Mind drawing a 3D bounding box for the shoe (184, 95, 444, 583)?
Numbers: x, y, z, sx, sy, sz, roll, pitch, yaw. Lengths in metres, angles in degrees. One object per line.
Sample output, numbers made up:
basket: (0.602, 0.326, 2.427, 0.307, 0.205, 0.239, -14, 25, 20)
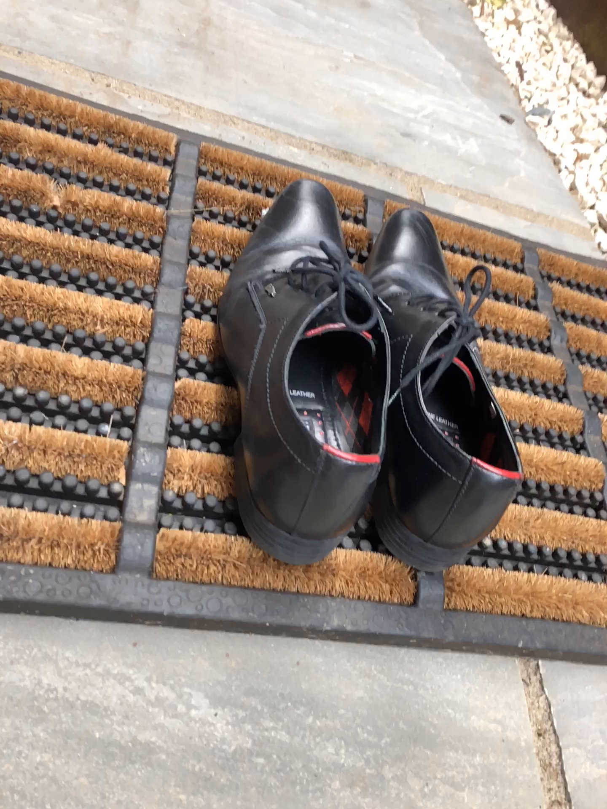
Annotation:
shoe: (0.000, -0.056, 0.425, 0.100, 0.099, 0.302, 13, 51, -17)

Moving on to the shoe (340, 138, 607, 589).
shoe: (0.097, -0.042, 0.464, 0.100, 0.099, 0.302, 13, 51, -17)
